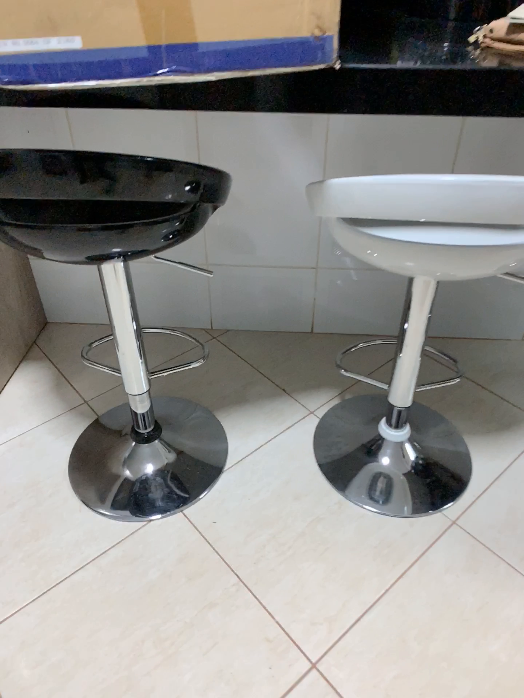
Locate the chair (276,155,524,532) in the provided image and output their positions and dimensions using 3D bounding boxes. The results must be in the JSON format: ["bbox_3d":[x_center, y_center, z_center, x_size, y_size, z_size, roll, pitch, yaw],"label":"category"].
[{"bbox_3d":[0.293,-0.003,1.090,0.510,0.634,0.414,2,38,2],"label":"chair"}]

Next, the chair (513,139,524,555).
[{"bbox_3d":[0.923,-0.003,1.077,0.520,0.664,0.444,5,38,6],"label":"chair"}]

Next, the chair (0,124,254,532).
[{"bbox_3d":[-0.318,-0.040,1.215,0.570,0.753,0.515,2,38,2],"label":"chair"}]
